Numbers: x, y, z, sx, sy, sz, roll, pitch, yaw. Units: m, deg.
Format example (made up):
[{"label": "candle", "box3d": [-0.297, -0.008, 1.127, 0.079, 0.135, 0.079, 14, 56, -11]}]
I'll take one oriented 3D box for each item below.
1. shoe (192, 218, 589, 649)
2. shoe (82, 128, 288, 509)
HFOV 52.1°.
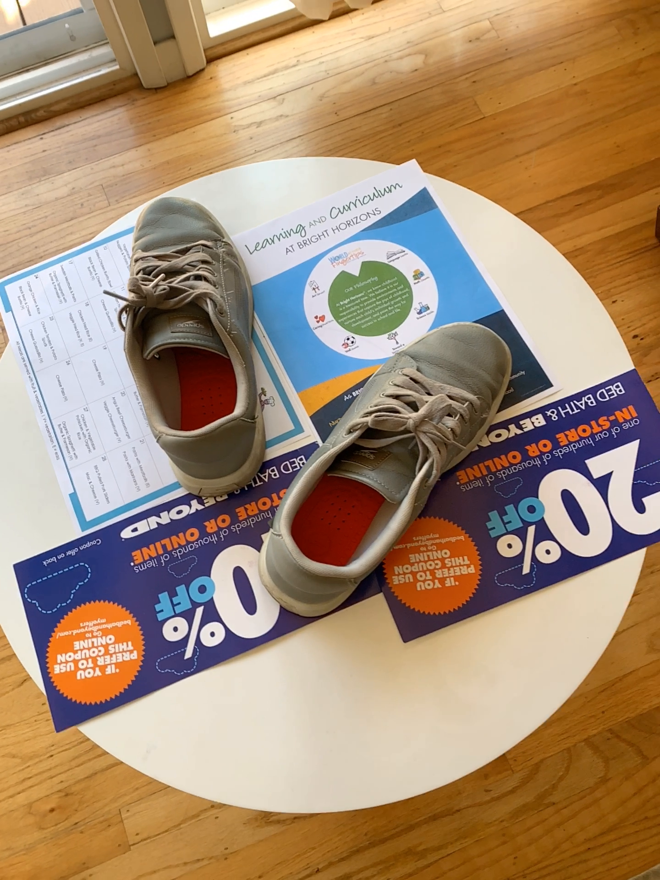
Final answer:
[{"label": "shoe", "box3d": [0.047, -0.002, 0.476, 0.100, 0.110, 0.280, 36, 77, 15]}, {"label": "shoe", "box3d": [-0.115, -0.097, 0.538, 0.100, 0.100, 0.270, -13, 70, -1]}]
